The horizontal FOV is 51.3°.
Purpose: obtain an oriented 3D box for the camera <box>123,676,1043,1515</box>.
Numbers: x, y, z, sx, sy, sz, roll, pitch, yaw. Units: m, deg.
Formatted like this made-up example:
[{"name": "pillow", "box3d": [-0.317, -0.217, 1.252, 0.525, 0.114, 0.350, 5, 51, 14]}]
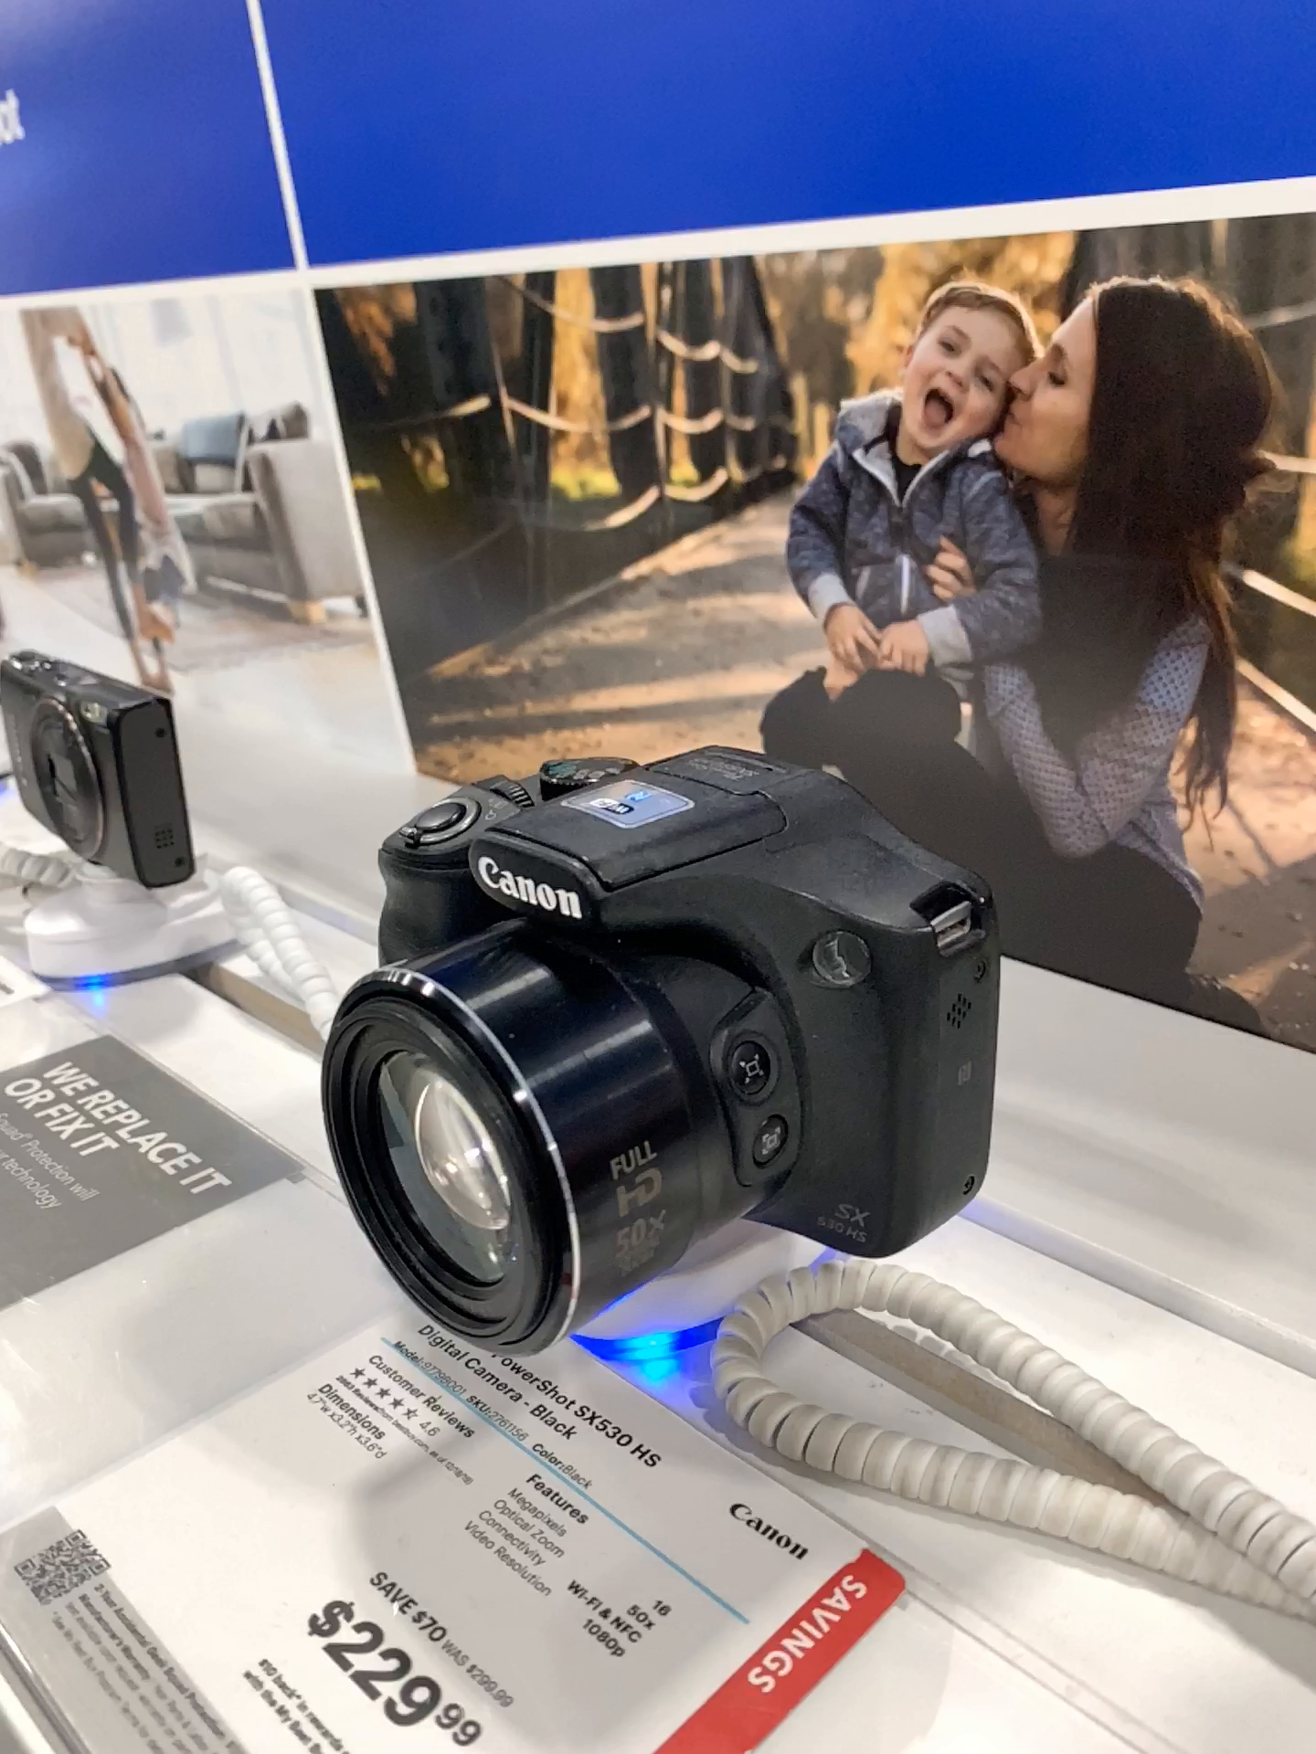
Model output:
[{"name": "camera", "box3d": [-0.015, 0.021, 0.239, 0.124, 0.080, 0.090, 18, 27, 39]}]
